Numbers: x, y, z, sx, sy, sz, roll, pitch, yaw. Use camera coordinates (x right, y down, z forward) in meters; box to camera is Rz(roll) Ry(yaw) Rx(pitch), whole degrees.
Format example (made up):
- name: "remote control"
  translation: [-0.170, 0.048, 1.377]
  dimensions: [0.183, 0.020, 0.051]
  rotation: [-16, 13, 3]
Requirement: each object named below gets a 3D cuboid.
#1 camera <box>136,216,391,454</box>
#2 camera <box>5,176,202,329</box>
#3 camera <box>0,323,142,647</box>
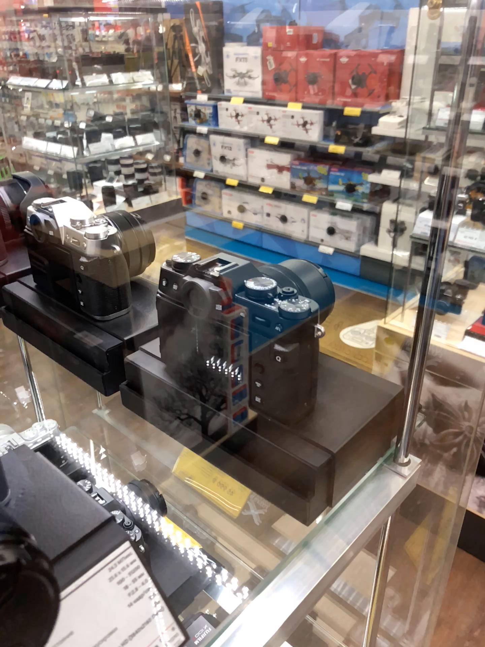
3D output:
- name: "camera"
  translation: [0.015, -0.003, 0.351]
  dimensions: [0.114, 0.090, 0.110]
  rotation: [21, 35, 35]
- name: "camera"
  translation: [-0.115, -0.068, 0.456]
  dimensions: [0.114, 0.078, 0.109]
  rotation: [23, 37, 38]
- name: "camera"
  translation: [-0.124, 0.078, 0.193]
  dimensions: [0.120, 0.090, 0.114]
  rotation: [22, 36, 36]
